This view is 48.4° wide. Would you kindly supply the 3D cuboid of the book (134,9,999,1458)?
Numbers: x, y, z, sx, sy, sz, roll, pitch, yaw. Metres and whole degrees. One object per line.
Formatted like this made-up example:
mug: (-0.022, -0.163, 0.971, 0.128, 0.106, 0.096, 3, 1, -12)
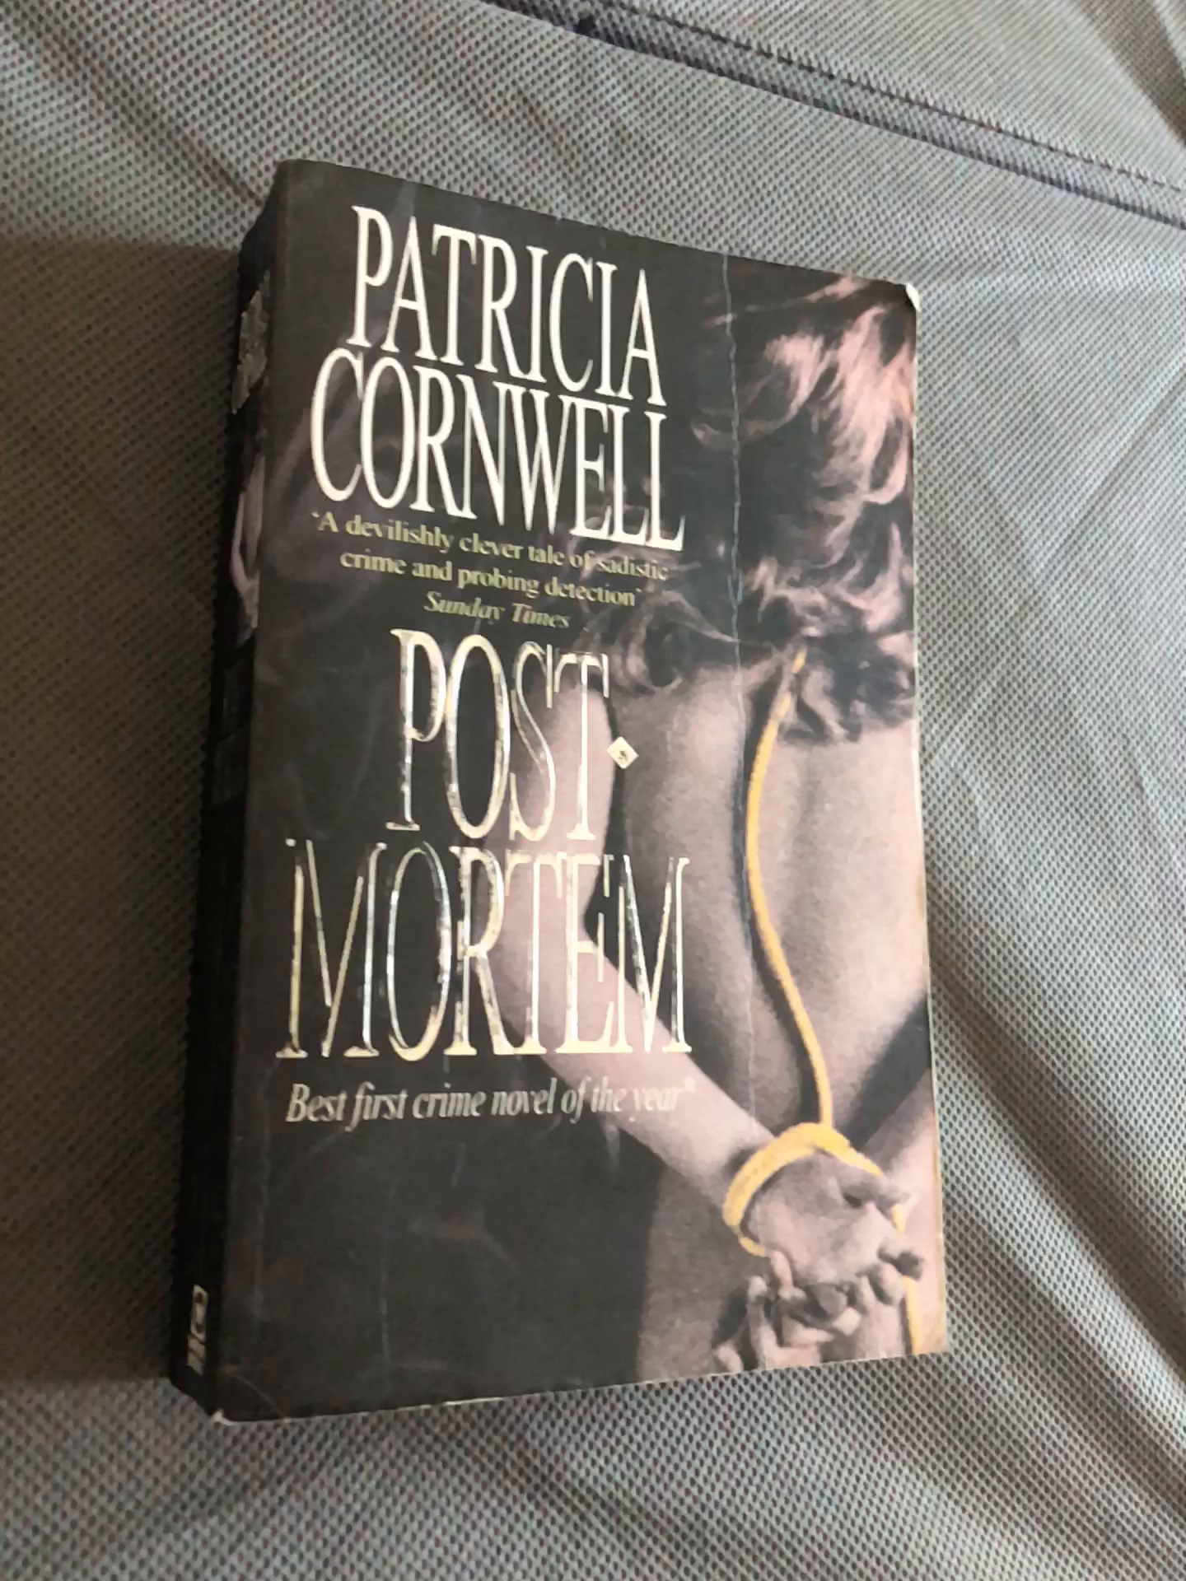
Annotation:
book: (-0.005, -0.009, 0.203, 0.110, 0.050, 0.180, 4, 77, -23)
